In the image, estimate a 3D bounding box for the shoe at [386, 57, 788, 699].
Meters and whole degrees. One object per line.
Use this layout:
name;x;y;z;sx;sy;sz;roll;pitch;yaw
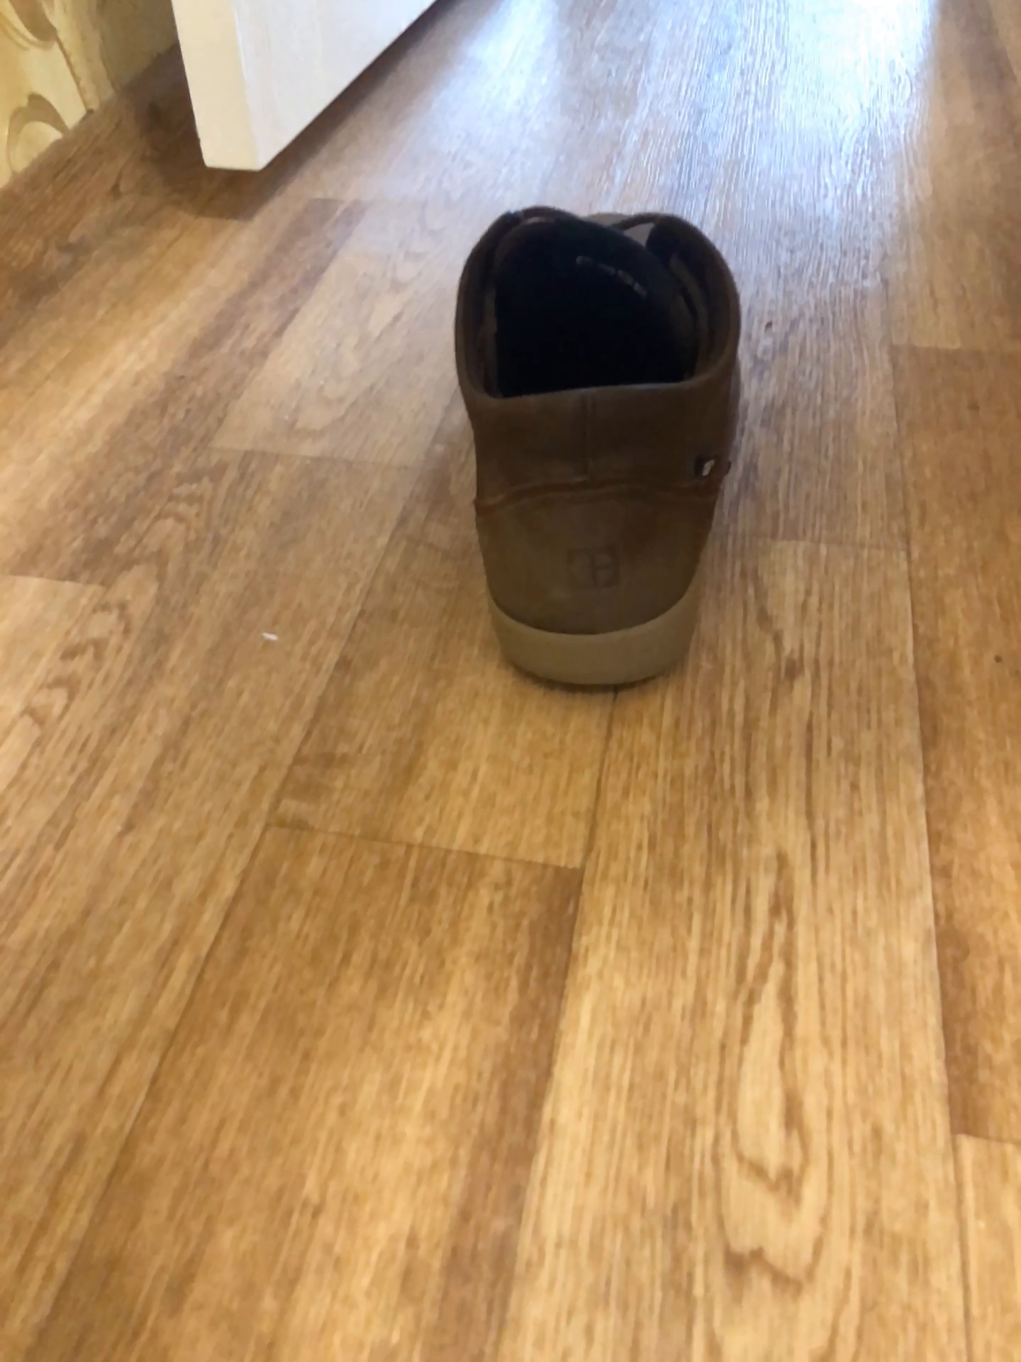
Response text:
shoe;0.042;-0.129;0.410;0.100;0.100;0.271;6;45;8
